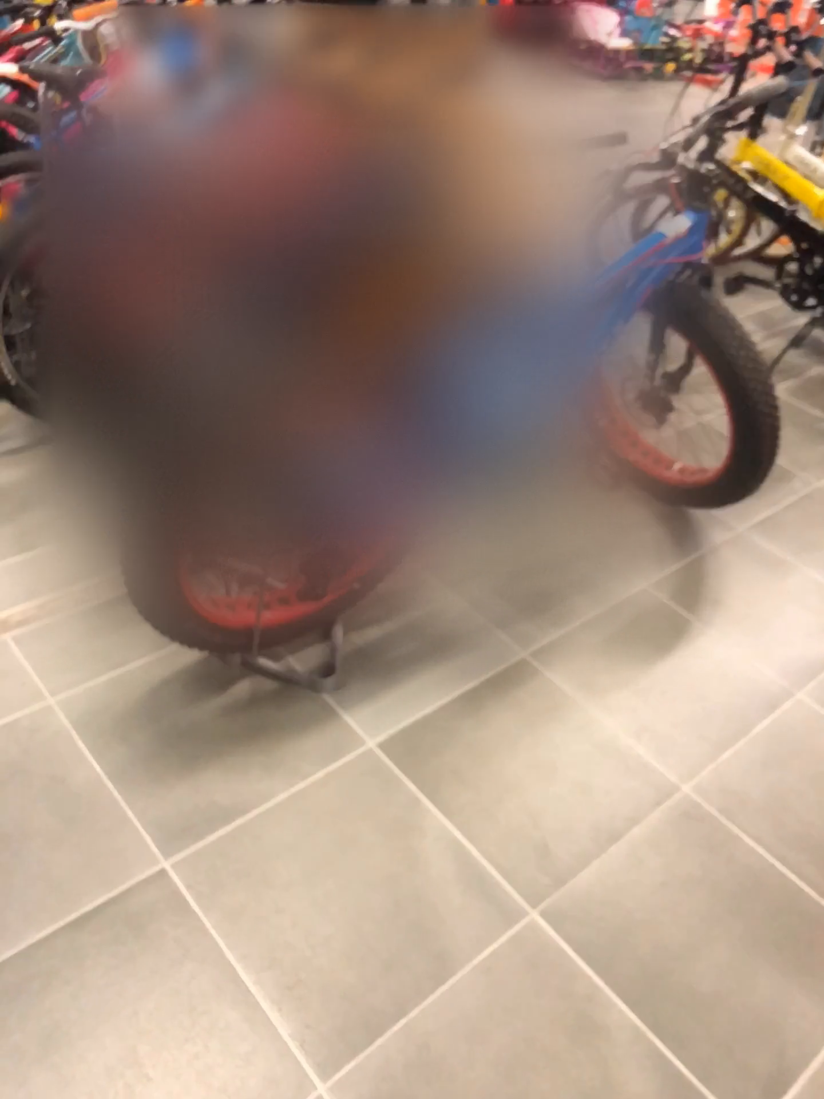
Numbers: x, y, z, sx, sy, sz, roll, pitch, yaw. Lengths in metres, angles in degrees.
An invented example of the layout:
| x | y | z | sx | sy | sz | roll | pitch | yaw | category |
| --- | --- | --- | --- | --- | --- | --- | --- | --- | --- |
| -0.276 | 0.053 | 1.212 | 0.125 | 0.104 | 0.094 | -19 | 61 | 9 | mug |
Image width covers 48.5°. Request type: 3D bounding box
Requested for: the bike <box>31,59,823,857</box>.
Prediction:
| x | y | z | sx | sy | sz | roll | pitch | yaw | category |
| --- | --- | --- | --- | --- | --- | --- | --- | --- | --- |
| 0.202 | -0.298 | 1.755 | 1.471 | 1.022 | 0.616 | -23 | 47 | -37 | bike |
